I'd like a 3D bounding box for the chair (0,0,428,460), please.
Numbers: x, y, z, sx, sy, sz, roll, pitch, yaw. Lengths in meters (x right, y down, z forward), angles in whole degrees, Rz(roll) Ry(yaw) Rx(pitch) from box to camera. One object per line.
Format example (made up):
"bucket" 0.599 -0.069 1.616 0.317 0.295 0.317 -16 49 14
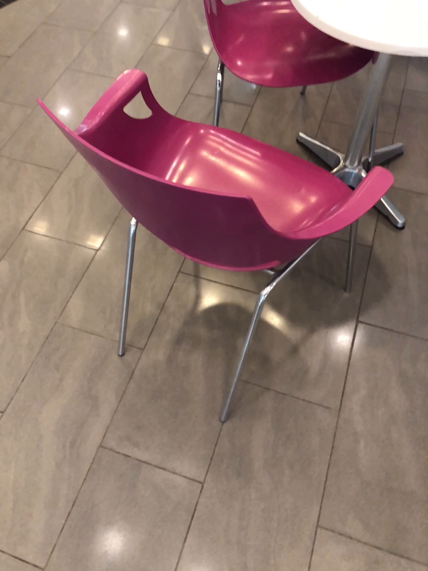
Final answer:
"chair" 0.041 -0.148 1.131 0.620 0.838 0.671 29 63 21
